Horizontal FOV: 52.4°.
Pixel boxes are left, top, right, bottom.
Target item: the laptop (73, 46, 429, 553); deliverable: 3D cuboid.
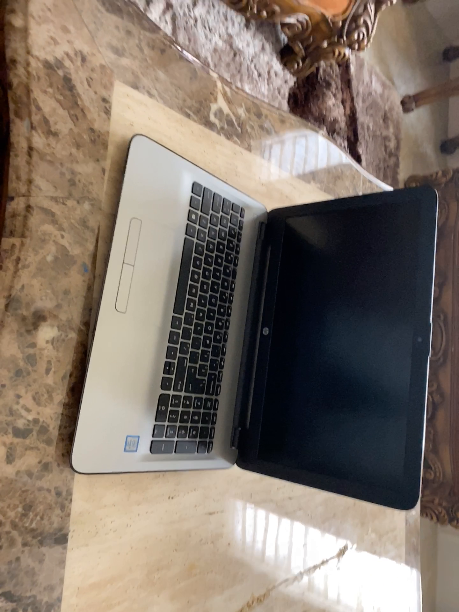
[{"bbox_3d":[0.041,0.011,0.512,0.266,0.240,0.371,18,76,-46],"label":"laptop"}]
